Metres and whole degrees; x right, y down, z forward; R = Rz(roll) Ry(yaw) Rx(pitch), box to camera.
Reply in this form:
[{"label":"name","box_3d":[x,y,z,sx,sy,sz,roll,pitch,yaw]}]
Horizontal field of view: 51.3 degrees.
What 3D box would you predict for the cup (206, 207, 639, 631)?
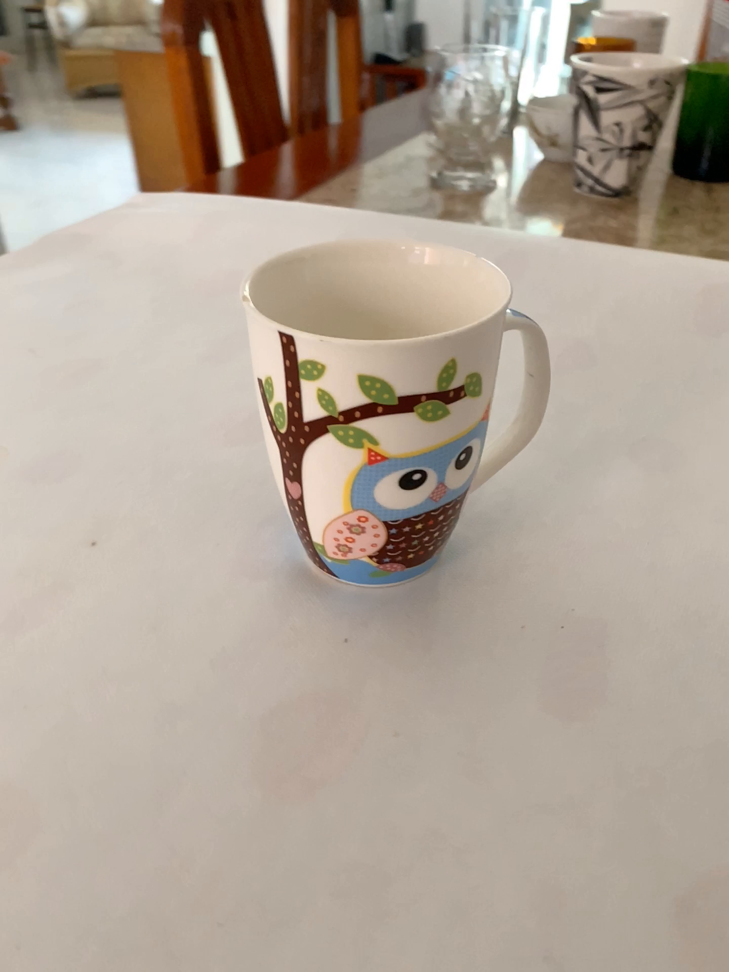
[{"label":"cup","box_3d":[0.016,-0.029,0.266,0.110,0.099,0.080,-16,39,-21]}]
